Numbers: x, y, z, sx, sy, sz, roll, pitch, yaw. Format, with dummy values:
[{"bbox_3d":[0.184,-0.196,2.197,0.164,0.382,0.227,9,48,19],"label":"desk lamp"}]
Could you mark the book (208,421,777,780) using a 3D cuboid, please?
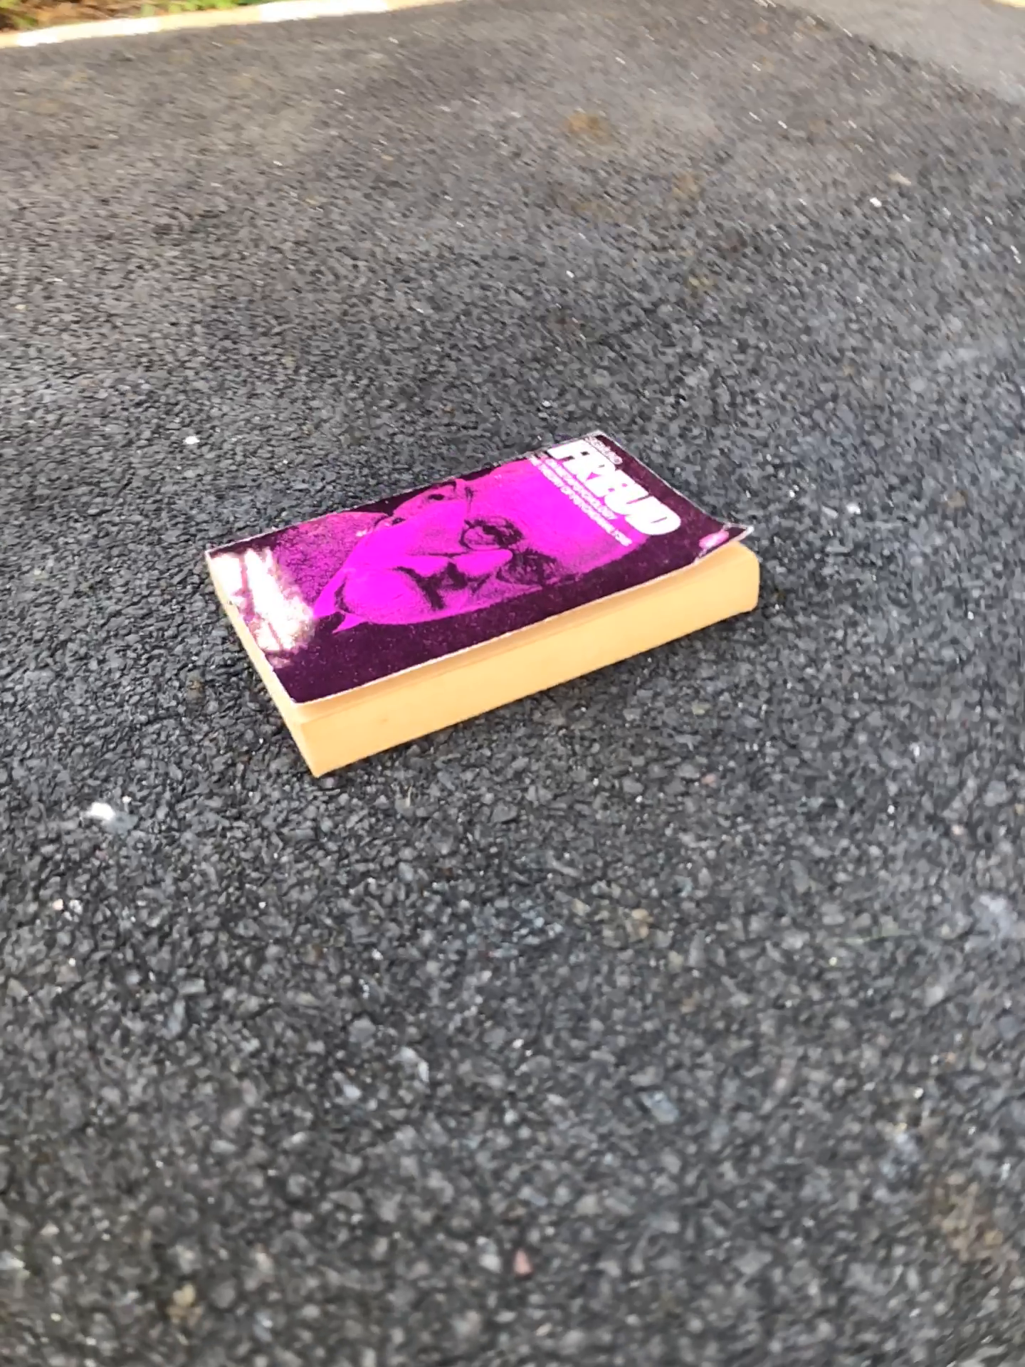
[{"bbox_3d":[-0.011,-0.045,0.466,0.195,0.031,0.131,-20,42,-18],"label":"book"}]
